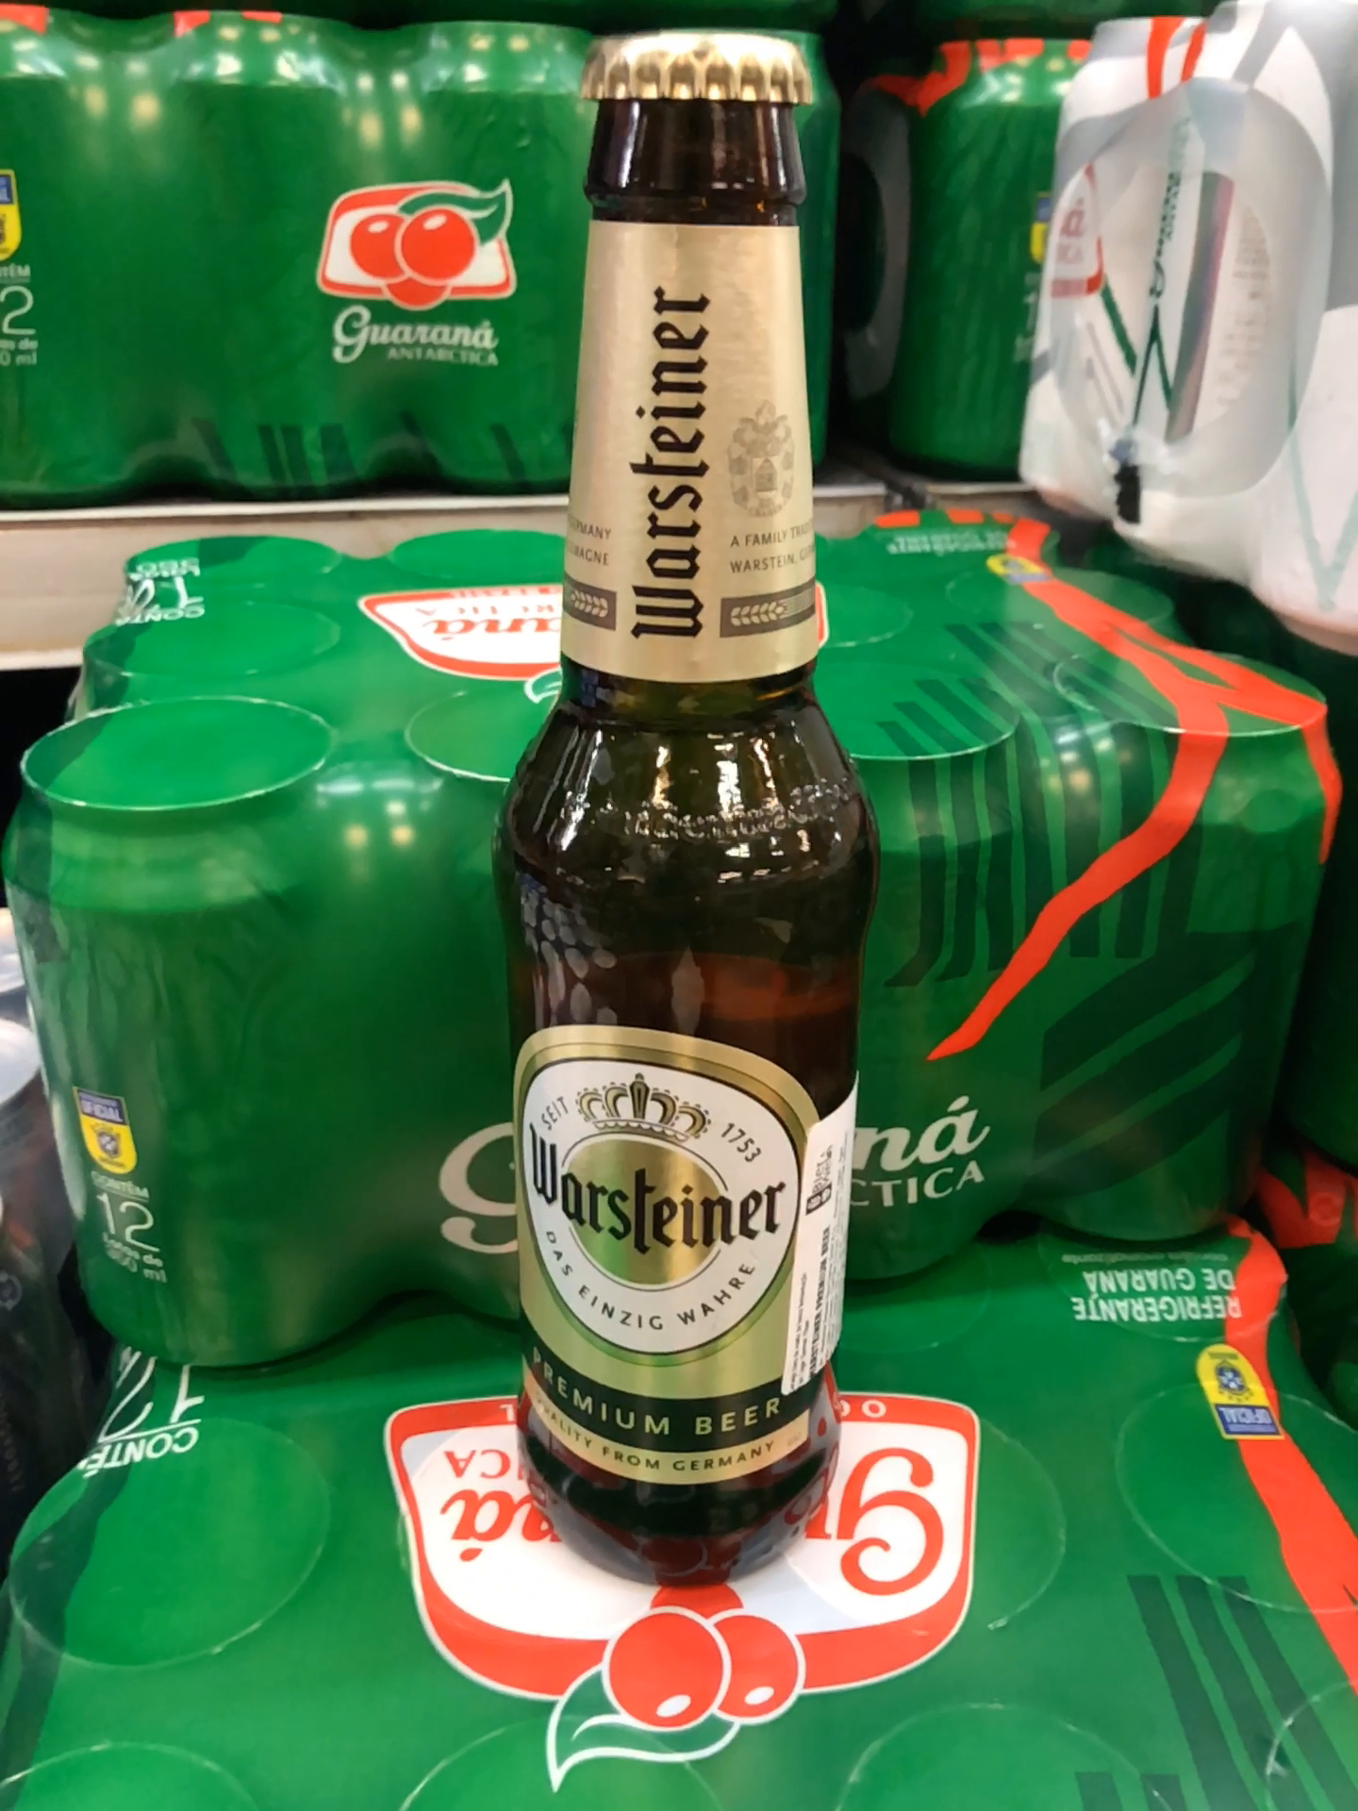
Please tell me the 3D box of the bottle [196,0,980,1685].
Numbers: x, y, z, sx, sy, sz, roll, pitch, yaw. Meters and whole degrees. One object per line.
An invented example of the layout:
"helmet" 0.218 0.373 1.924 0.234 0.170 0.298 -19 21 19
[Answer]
"bottle" -0.008 0.000 0.221 0.070 0.228 0.060 10 28 18
